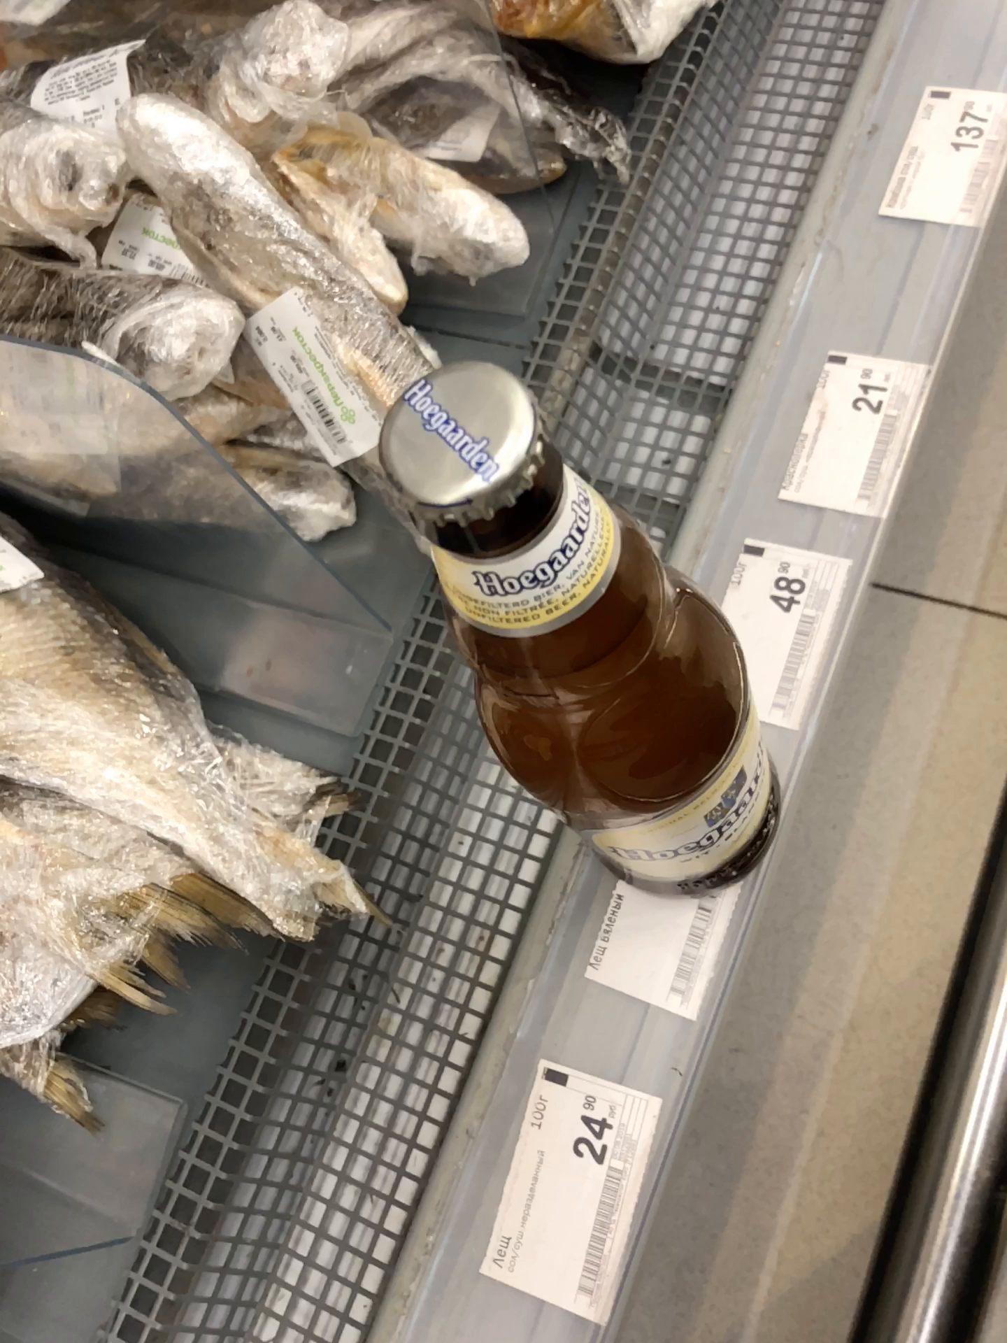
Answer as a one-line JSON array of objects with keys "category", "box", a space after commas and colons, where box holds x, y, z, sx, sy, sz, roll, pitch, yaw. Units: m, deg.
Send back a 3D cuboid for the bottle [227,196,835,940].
[{"category": "bottle", "box": [0.032, 0.002, 0.279, 0.070, 0.229, 0.070, -6, 68, 14]}]
